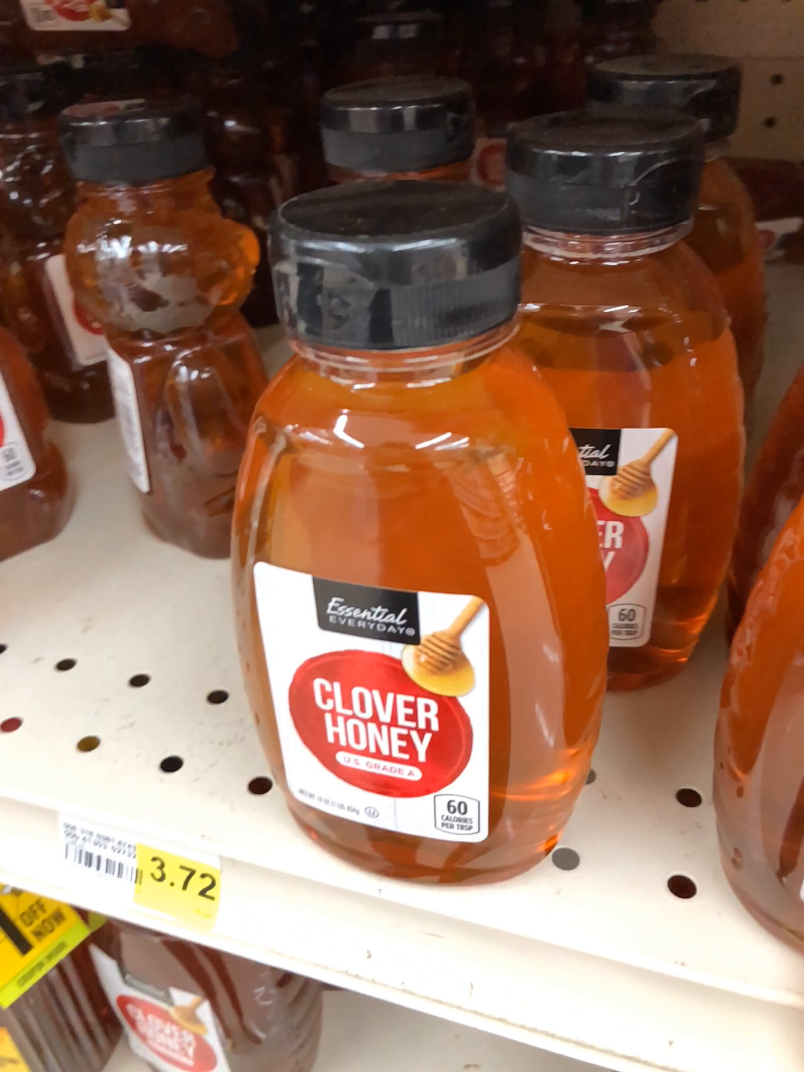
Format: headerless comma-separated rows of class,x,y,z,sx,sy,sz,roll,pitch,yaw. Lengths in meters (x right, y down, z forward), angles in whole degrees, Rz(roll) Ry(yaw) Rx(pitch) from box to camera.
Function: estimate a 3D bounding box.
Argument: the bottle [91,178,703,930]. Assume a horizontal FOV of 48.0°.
bottle,0.007,0.004,0.180,0.083,0.130,0.060,7,36,16
